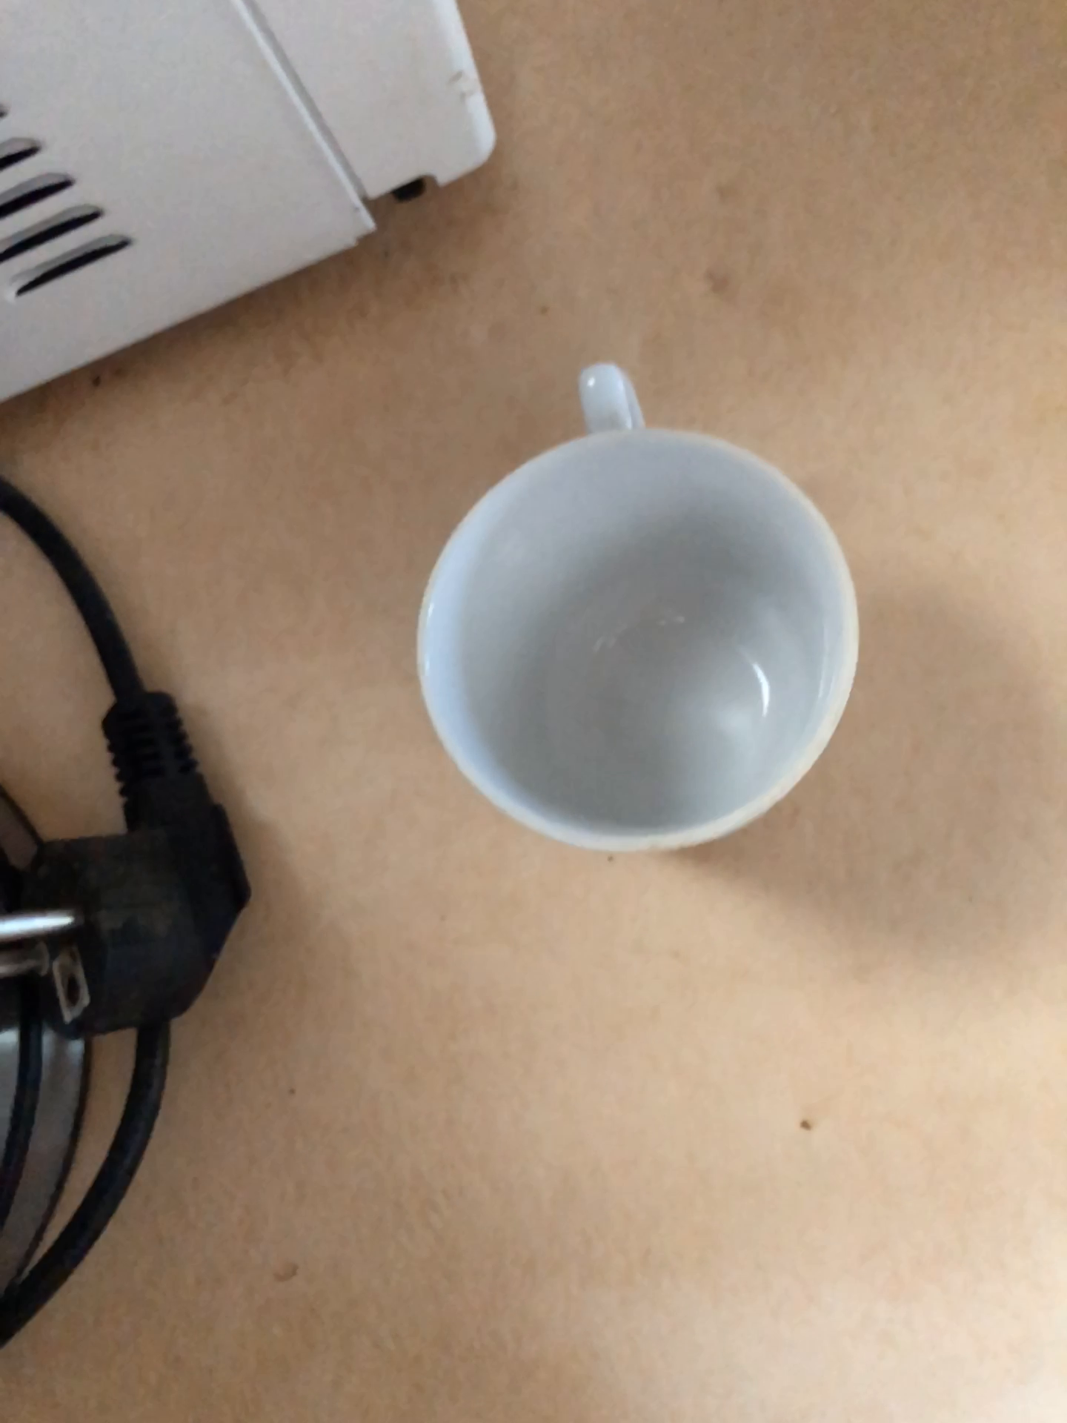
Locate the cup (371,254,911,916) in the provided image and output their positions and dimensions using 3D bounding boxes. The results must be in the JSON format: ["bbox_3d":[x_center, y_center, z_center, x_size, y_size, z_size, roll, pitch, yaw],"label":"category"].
[{"bbox_3d":[0.018,-0.016,0.204,0.070,0.050,0.090,-10,76,12],"label":"cup"}]
